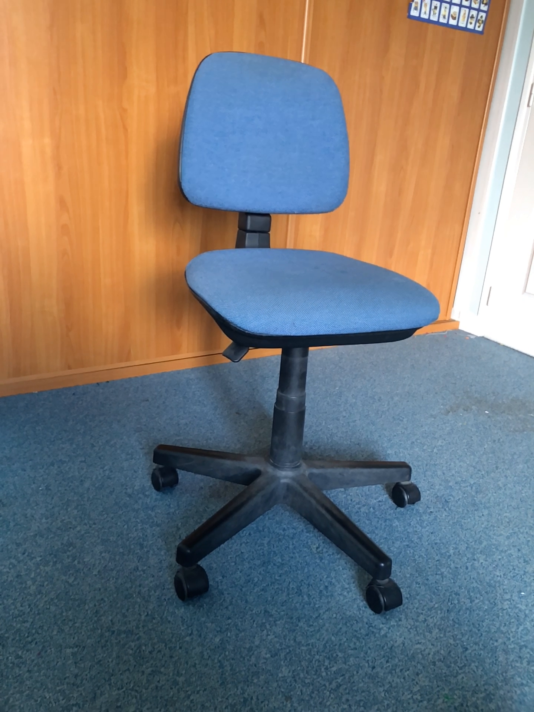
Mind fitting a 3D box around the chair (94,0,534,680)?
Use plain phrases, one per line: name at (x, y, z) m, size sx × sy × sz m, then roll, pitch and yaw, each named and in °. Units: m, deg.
chair at (0.061, -0.115, 1.151) m, size 0.652 × 0.916 × 0.762 m, roll -4°, pitch 21°, yaw -23°
